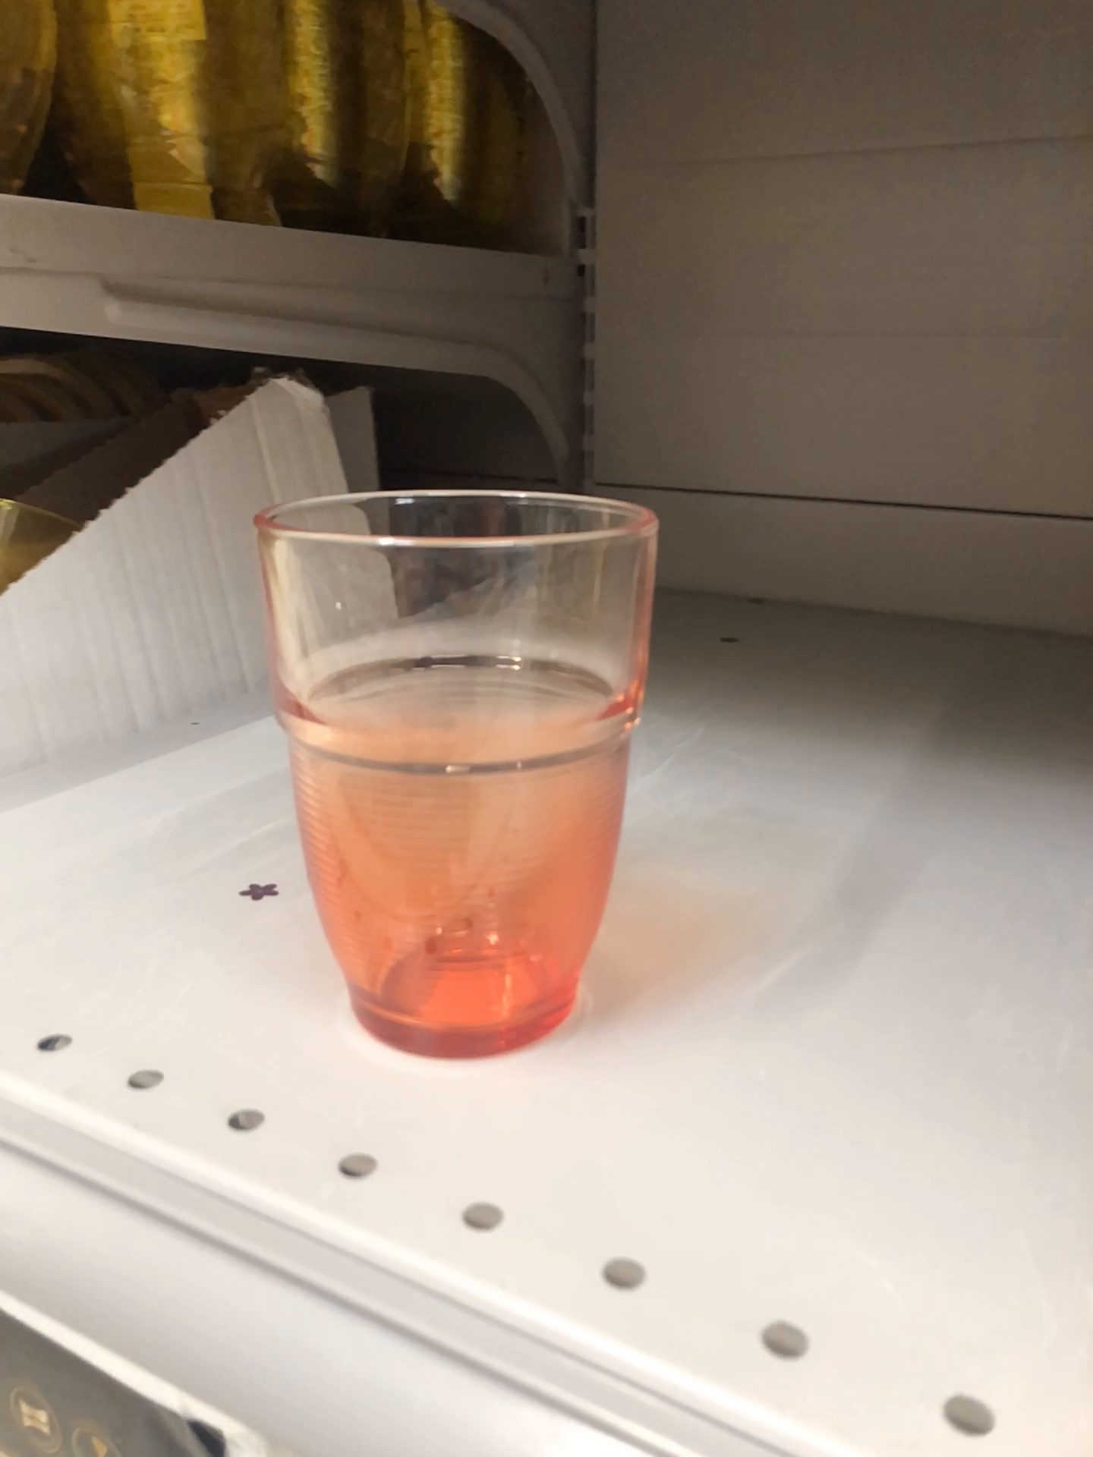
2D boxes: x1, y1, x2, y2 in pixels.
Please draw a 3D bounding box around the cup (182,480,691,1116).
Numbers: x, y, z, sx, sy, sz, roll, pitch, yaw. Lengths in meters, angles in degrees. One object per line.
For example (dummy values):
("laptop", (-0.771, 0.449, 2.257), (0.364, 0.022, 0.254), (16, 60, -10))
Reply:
("cup", (-0.016, 0.007, 0.237), (0.080, 0.100, 0.075), (2, 17, -1))
